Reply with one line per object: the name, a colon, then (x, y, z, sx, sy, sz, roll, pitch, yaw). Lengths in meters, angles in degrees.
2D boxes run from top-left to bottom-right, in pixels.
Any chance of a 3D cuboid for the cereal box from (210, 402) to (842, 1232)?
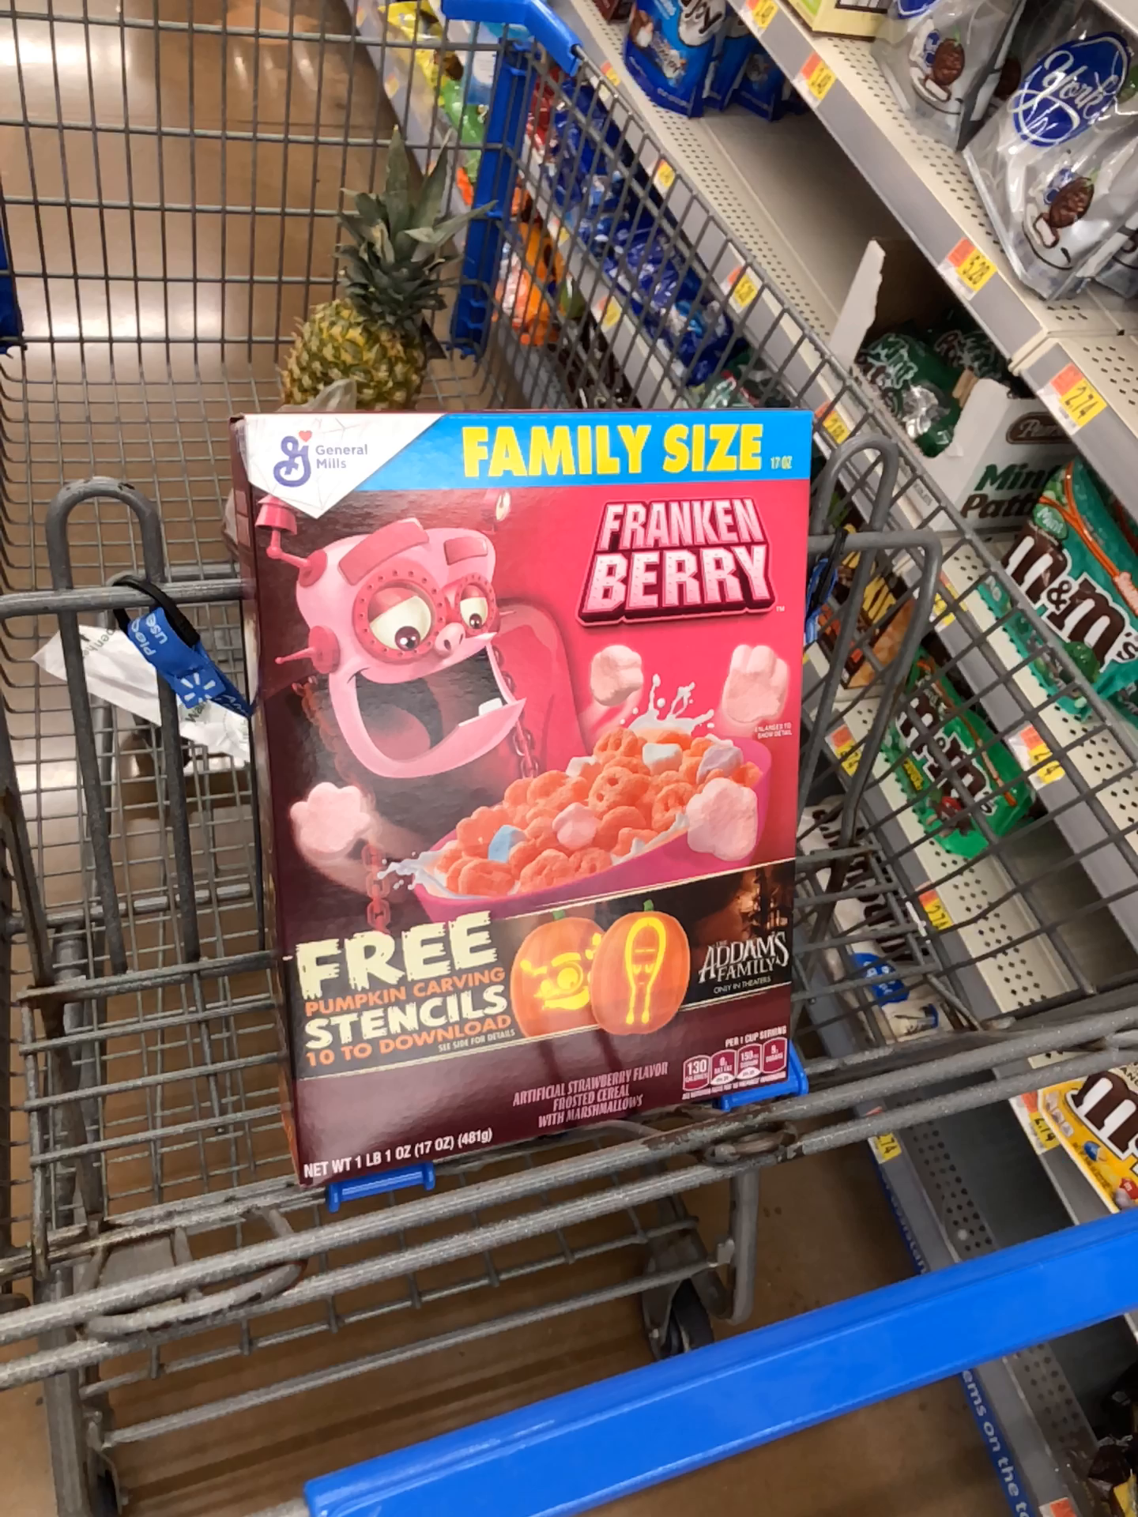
cereal box: (-0.012, 0.016, 0.536, 0.240, 0.320, 0.070, -6, 16, -19)
